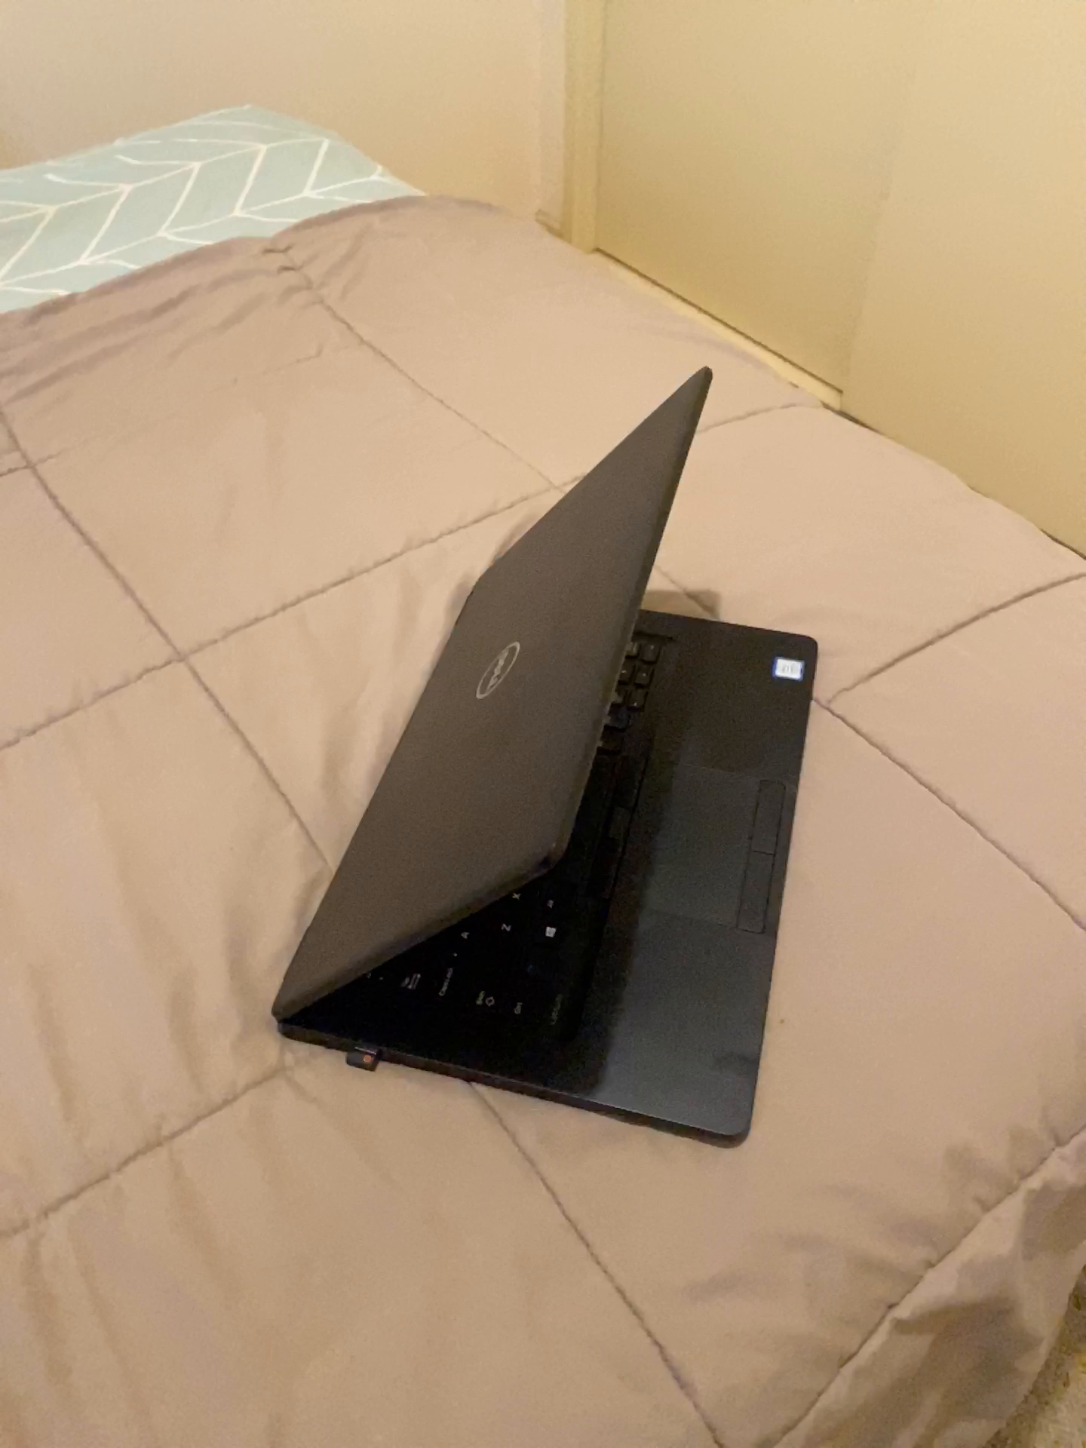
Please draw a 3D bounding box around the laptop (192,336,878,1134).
[{"bbox_3d":[0.023,-0.018,0.563,0.226,0.183,0.336,11,48,11],"label":"laptop"}]
